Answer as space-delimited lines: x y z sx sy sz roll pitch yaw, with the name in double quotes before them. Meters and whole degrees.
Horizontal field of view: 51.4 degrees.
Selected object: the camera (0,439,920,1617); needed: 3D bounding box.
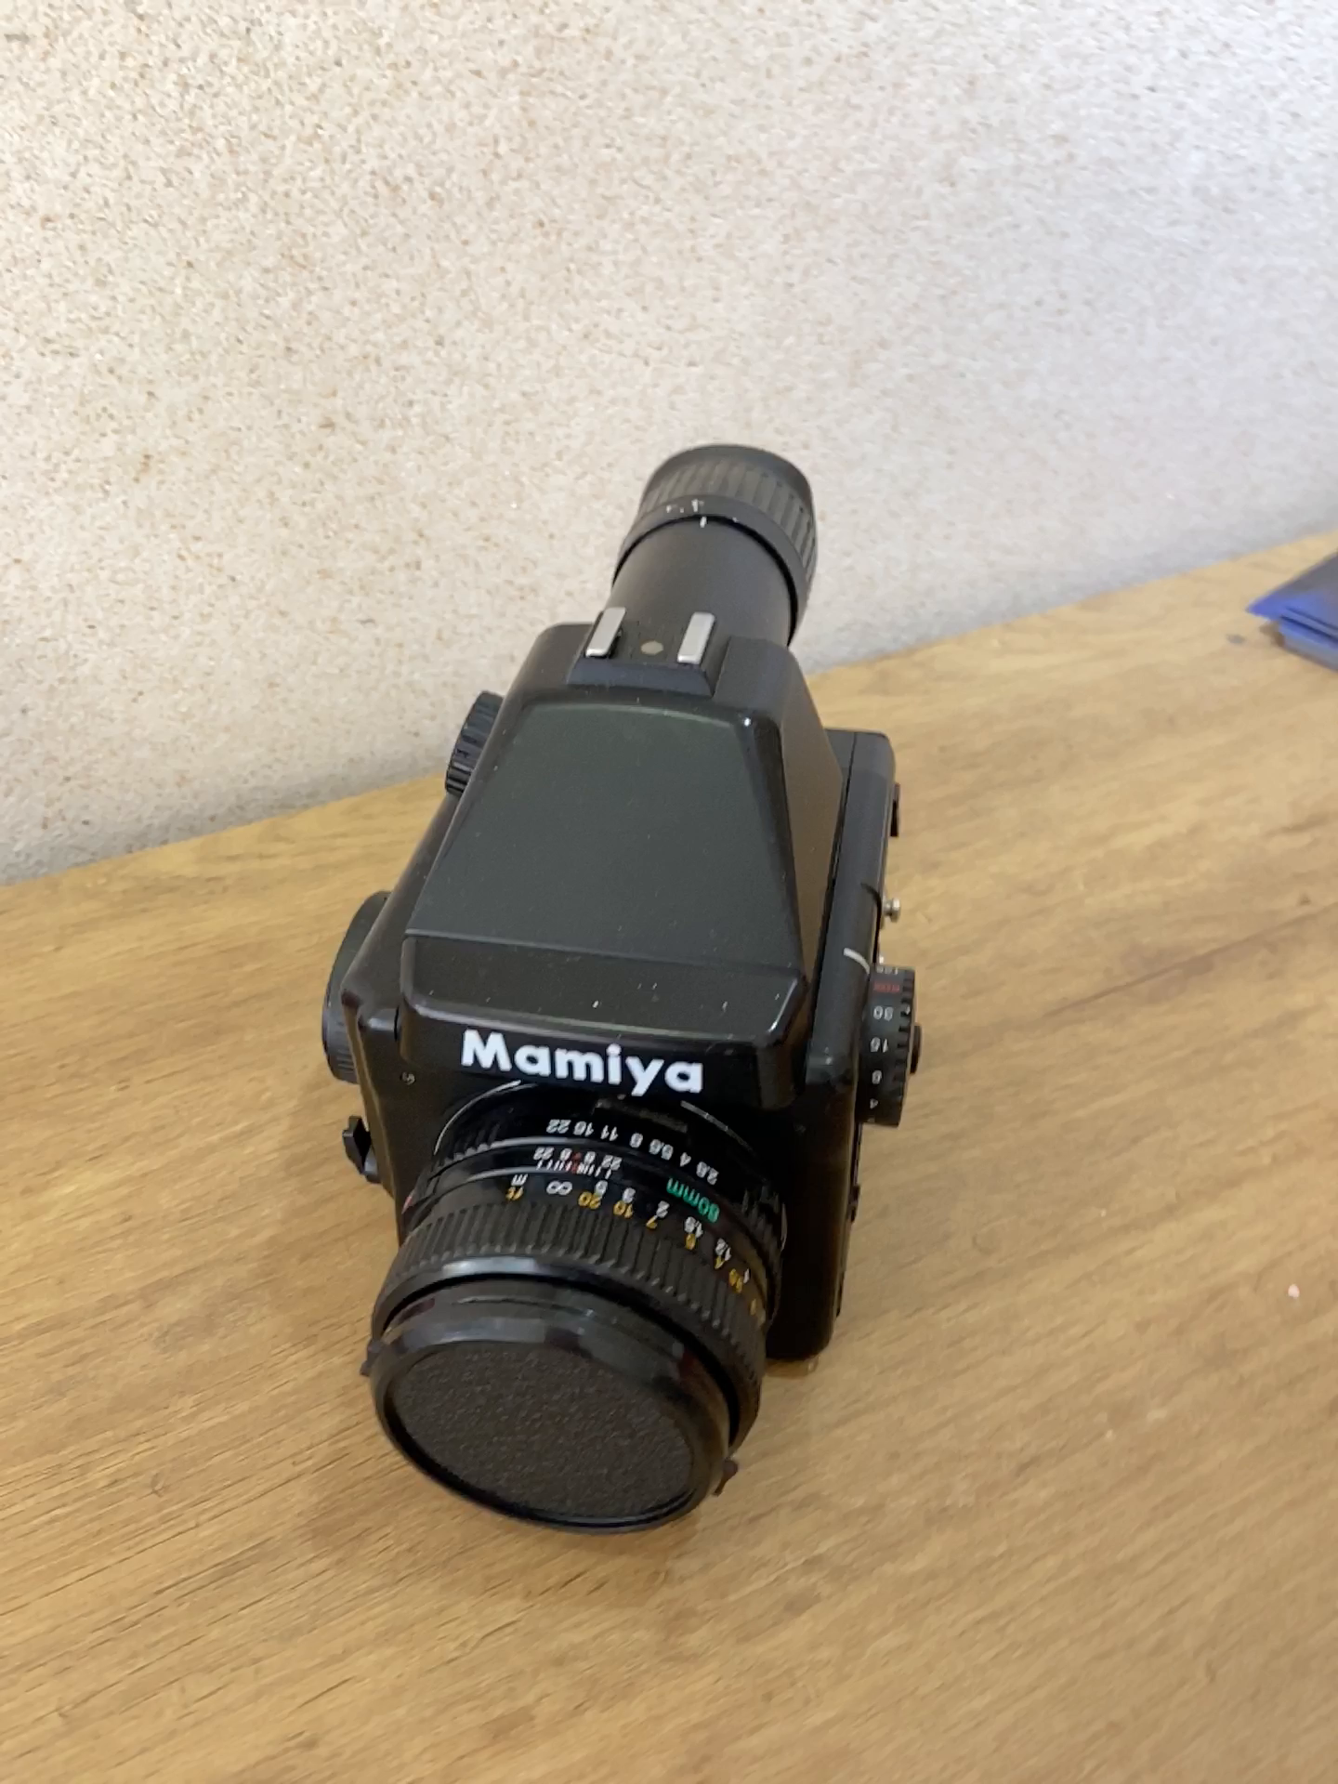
"camera" -0.014 0.002 0.285 0.120 0.109 0.221 4 39 7
